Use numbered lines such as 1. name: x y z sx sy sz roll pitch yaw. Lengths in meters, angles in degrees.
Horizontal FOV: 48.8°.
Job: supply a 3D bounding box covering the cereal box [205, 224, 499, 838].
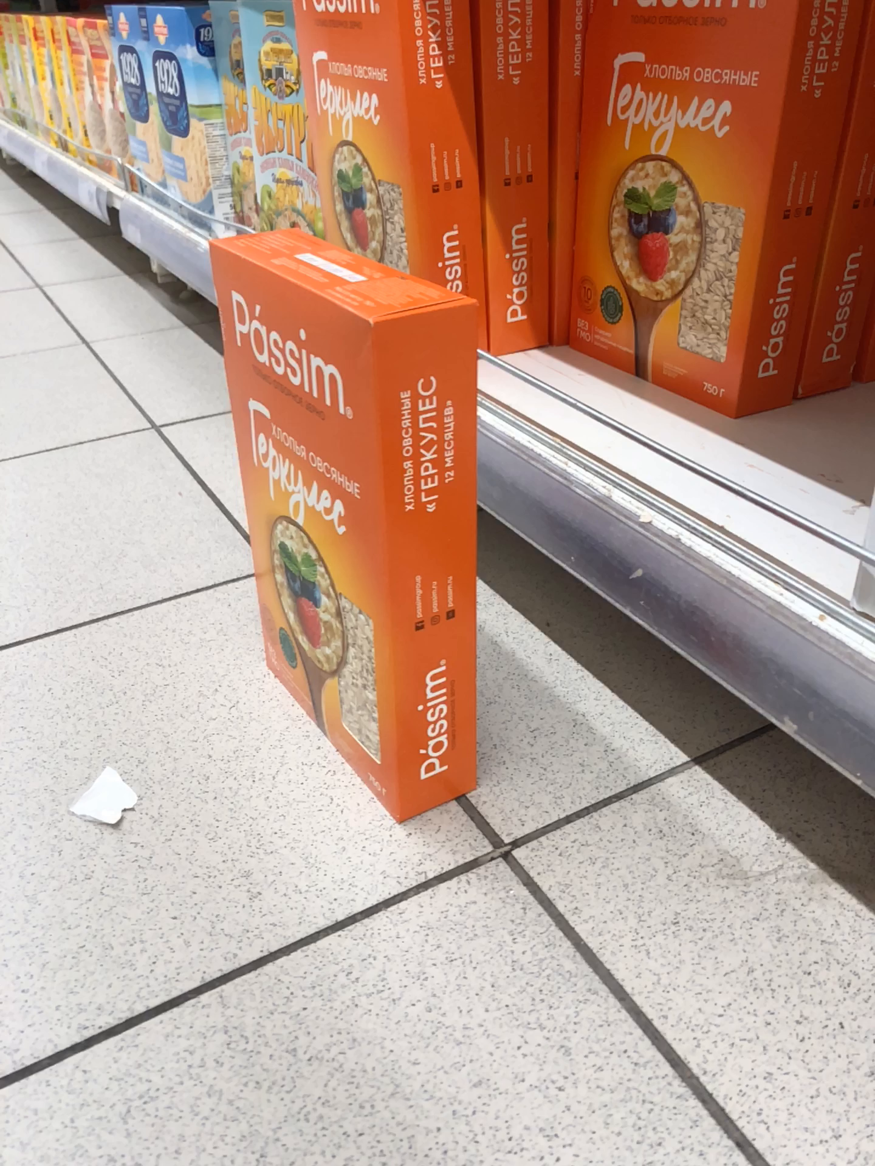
1. cereal box: -0.041 -0.028 0.471 0.050 0.249 0.171 -19 35 -26
